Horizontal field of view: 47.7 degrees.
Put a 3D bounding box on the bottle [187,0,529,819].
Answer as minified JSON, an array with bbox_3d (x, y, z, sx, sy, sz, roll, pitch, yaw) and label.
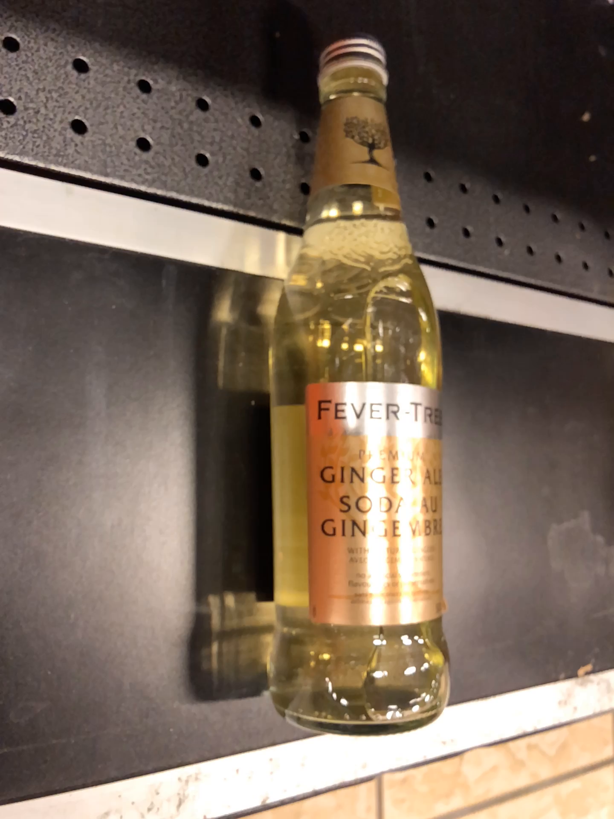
[{"bbox_3d":[0.015,0.003,0.275,0.090,0.090,0.280,5,81,-32],"label":"bottle"}]
